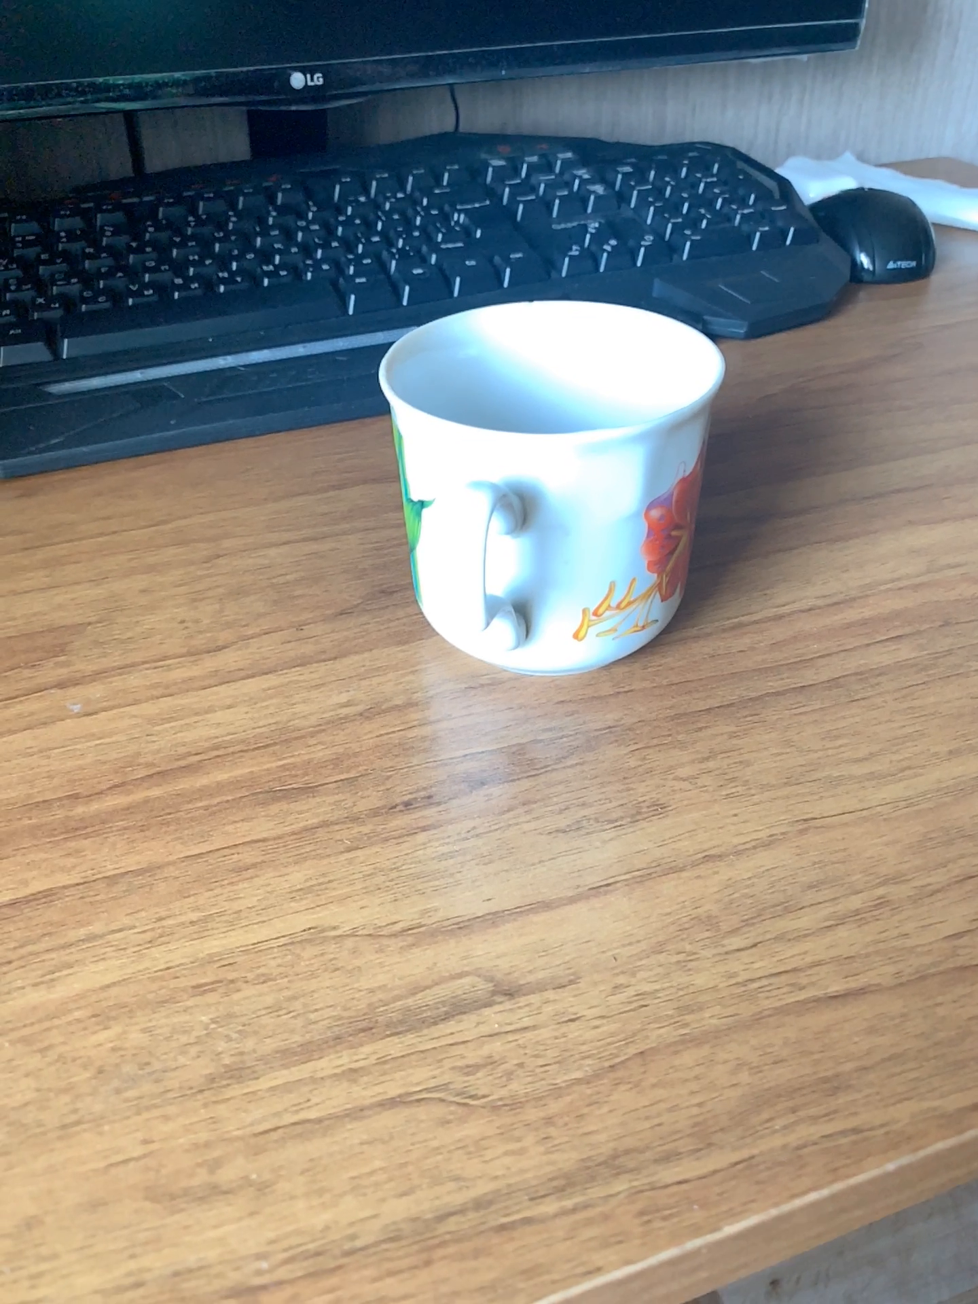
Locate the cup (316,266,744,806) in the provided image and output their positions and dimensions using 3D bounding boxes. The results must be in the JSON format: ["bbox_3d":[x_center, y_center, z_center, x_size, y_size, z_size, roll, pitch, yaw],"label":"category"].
[{"bbox_3d":[0.018,-0.035,0.247,0.070,0.080,0.110,8,38,14],"label":"cup"}]
